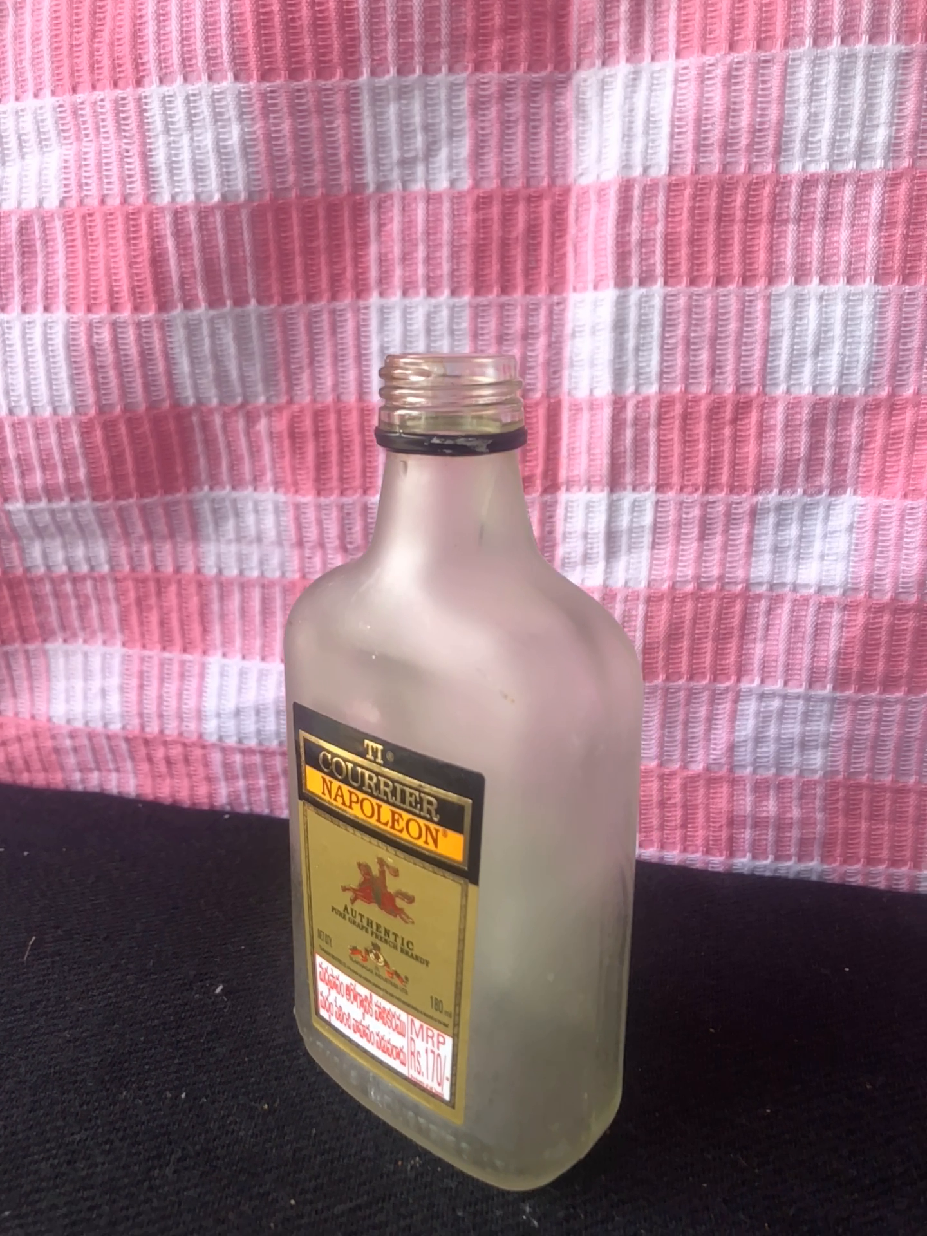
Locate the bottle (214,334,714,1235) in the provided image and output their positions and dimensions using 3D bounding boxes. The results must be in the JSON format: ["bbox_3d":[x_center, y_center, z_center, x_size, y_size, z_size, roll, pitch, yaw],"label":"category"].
[{"bbox_3d":[-0.004,0.028,0.186,0.070,0.149,0.040,15,22,38],"label":"bottle"}]
